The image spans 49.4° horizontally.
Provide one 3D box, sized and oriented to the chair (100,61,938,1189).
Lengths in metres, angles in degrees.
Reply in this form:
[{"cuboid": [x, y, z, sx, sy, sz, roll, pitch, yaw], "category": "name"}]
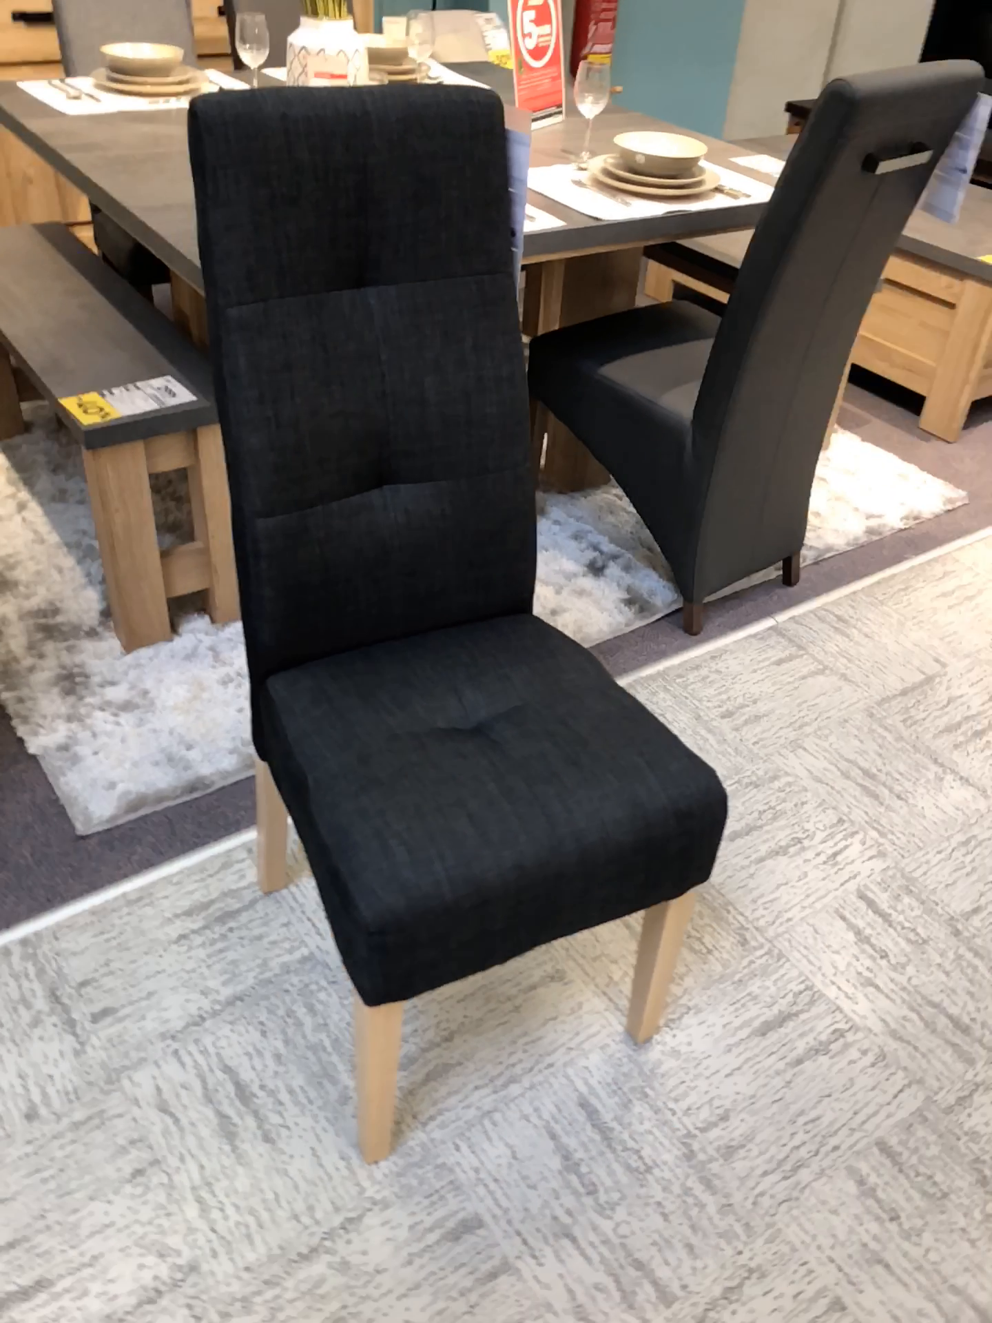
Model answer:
[{"cuboid": [-0.054, -0.038, 1.230, 0.481, 1.044, 0.602, -16, 41, -25], "category": "chair"}]
